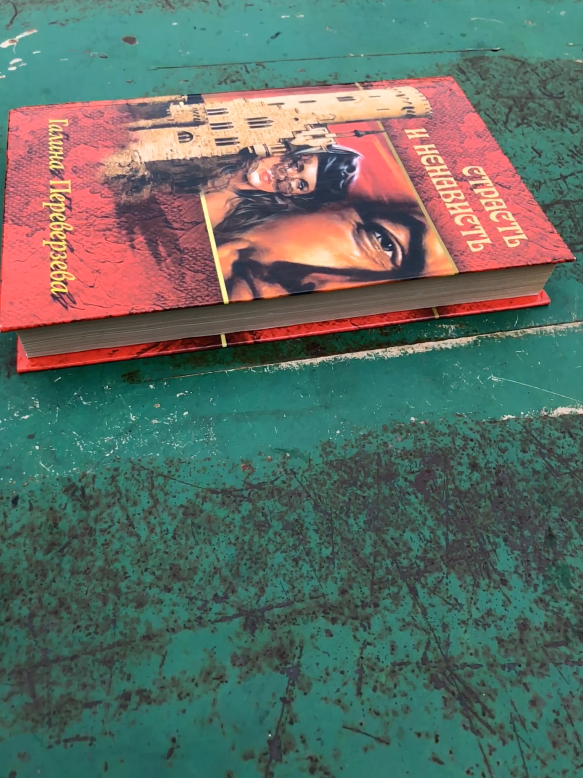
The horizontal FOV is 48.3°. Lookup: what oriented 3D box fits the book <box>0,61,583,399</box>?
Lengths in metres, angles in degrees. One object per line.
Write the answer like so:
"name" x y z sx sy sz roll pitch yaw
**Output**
"book" -0.008 -0.079 0.274 0.210 0.030 0.144 -8 56 -9
